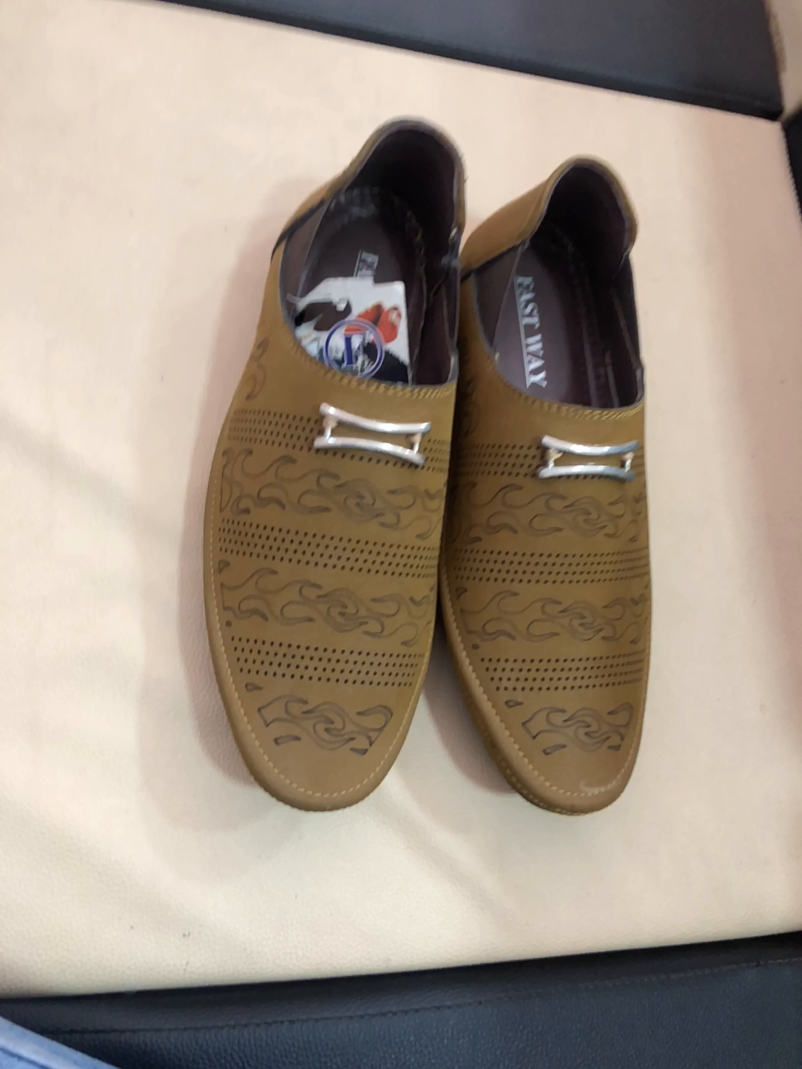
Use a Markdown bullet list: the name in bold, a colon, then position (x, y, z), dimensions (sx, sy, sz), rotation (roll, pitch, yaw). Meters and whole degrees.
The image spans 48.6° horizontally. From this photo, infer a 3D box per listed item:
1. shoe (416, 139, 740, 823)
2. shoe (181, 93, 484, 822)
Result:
- **shoe**: position (0.070, -0.019, 0.402), dimensions (0.100, 0.100, 0.280), rotation (5, 74, -11)
- **shoe**: position (-0.027, -0.028, 0.379), dimensions (0.100, 0.100, 0.280), rotation (5, 74, -11)
